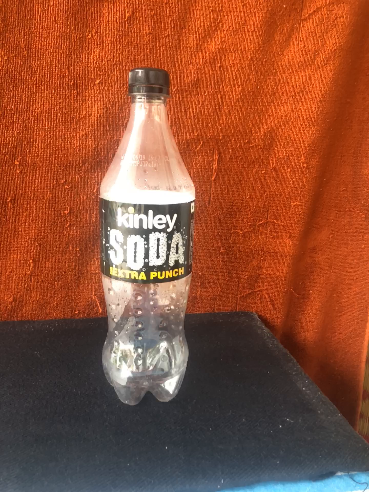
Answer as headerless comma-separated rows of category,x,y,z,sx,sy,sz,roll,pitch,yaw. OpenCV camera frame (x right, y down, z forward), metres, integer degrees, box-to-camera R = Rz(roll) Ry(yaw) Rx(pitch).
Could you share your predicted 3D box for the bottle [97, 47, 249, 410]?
bottle,-0.018,-0.005,0.321,0.090,0.259,0.070,2,16,-8
